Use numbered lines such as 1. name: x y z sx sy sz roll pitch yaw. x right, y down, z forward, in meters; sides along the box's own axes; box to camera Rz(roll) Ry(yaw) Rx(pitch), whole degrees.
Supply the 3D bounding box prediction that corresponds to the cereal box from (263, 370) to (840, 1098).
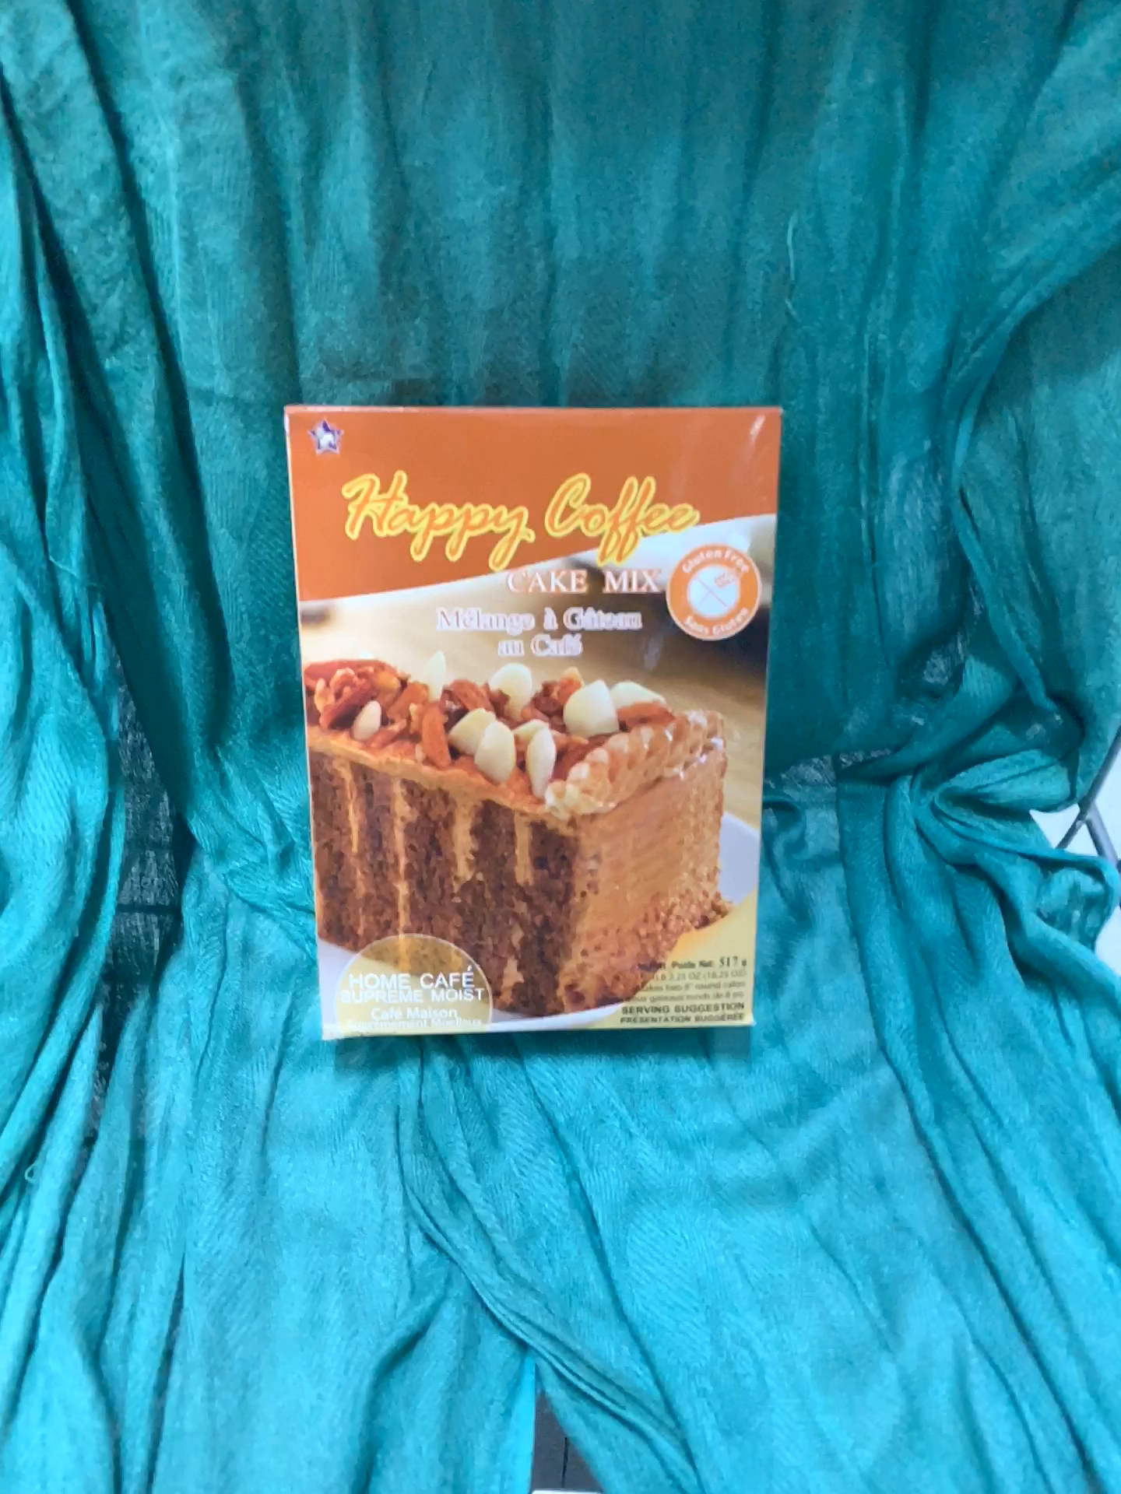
1. cereal box: -0.004 -0.002 0.349 0.150 0.210 0.050 -1 15 -4
